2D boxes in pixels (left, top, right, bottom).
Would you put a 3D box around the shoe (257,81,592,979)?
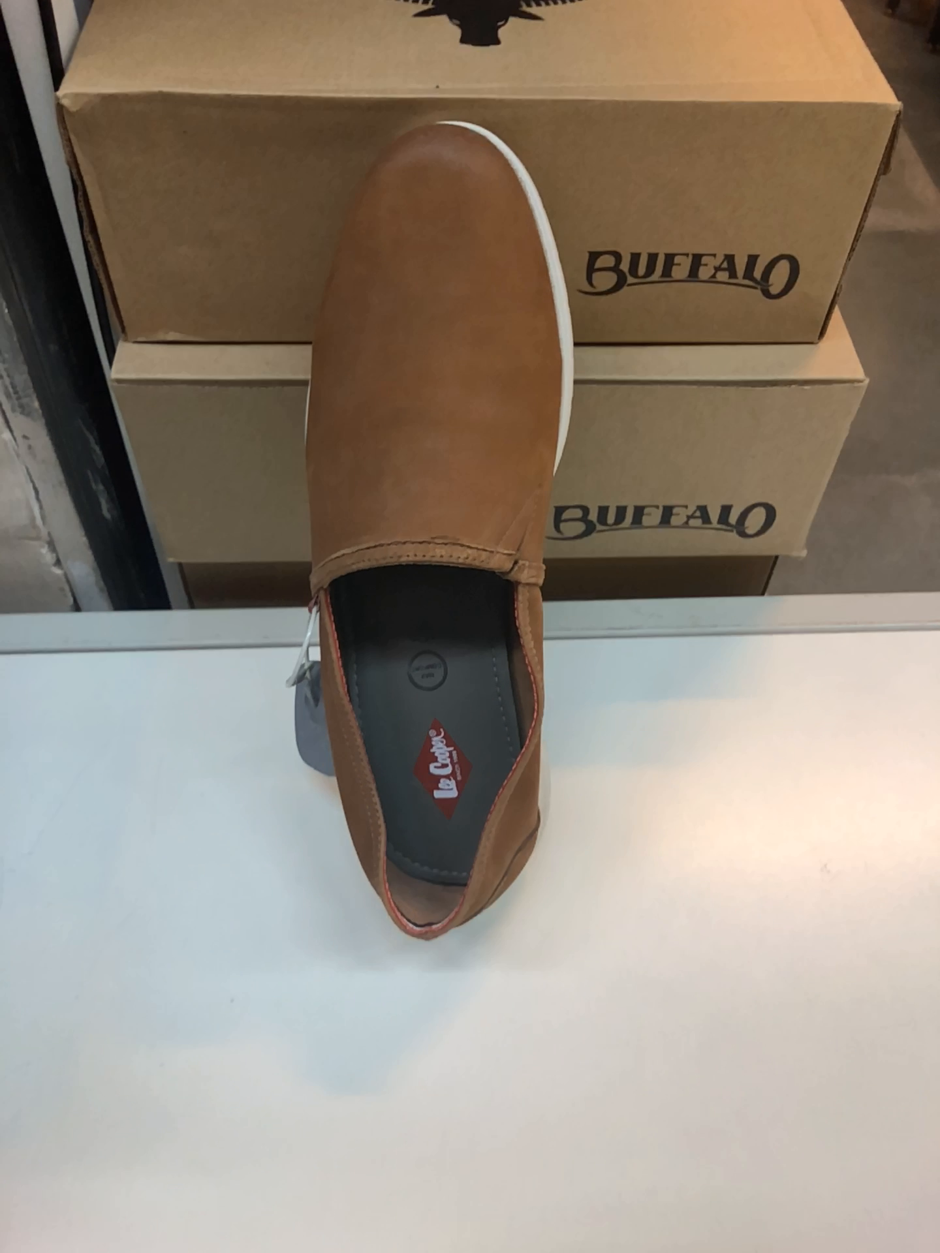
[{"bbox_3d":[-0.012,-0.037,0.440,0.113,0.310,0.149,2,7,6],"label":"shoe"}]
